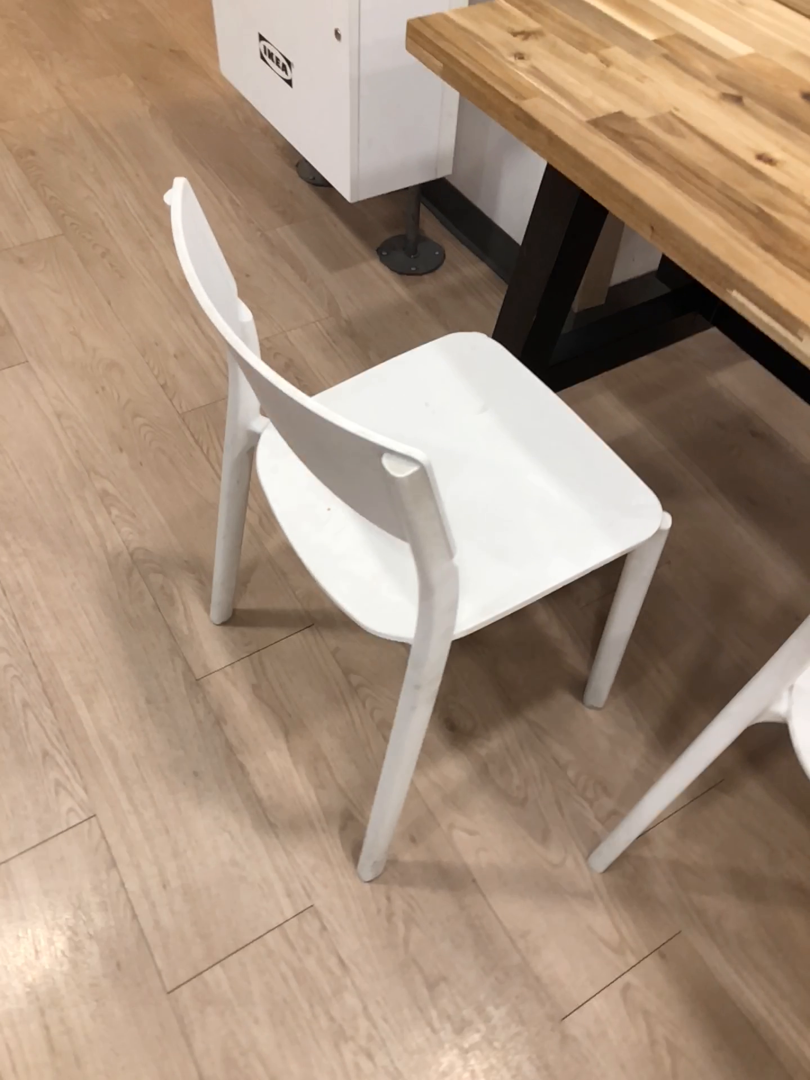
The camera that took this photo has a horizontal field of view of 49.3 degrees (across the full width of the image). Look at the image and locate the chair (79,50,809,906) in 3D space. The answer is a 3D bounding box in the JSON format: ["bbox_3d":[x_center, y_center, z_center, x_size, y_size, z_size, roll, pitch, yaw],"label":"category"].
[{"bbox_3d":[0.060,-0.052,1.065,0.561,0.716,0.532,-25,58,-21],"label":"chair"}]
